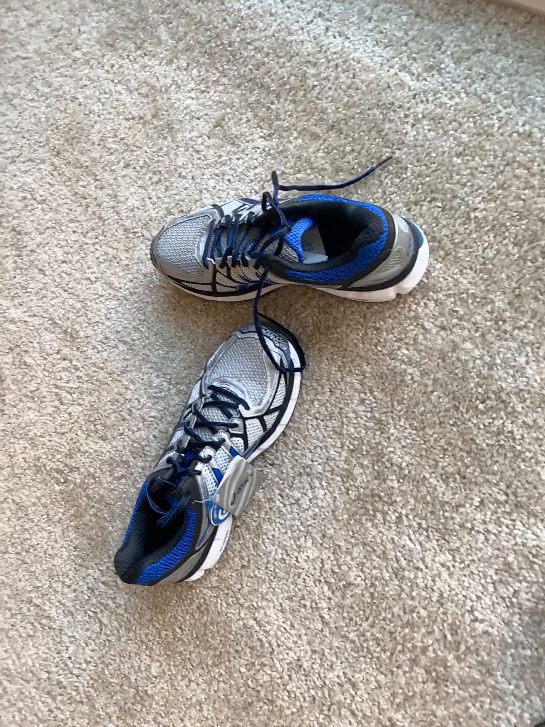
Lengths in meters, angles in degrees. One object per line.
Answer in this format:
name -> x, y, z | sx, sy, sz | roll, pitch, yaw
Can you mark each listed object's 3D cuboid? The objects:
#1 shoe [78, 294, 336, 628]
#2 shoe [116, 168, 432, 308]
shoe -> -0.061, 0.093, 0.560 | 0.100, 0.110, 0.290 | 29, 94, 24
shoe -> 0.000, -0.122, 0.594 | 0.311, 0.110, 0.100 | 3, 84, 24
